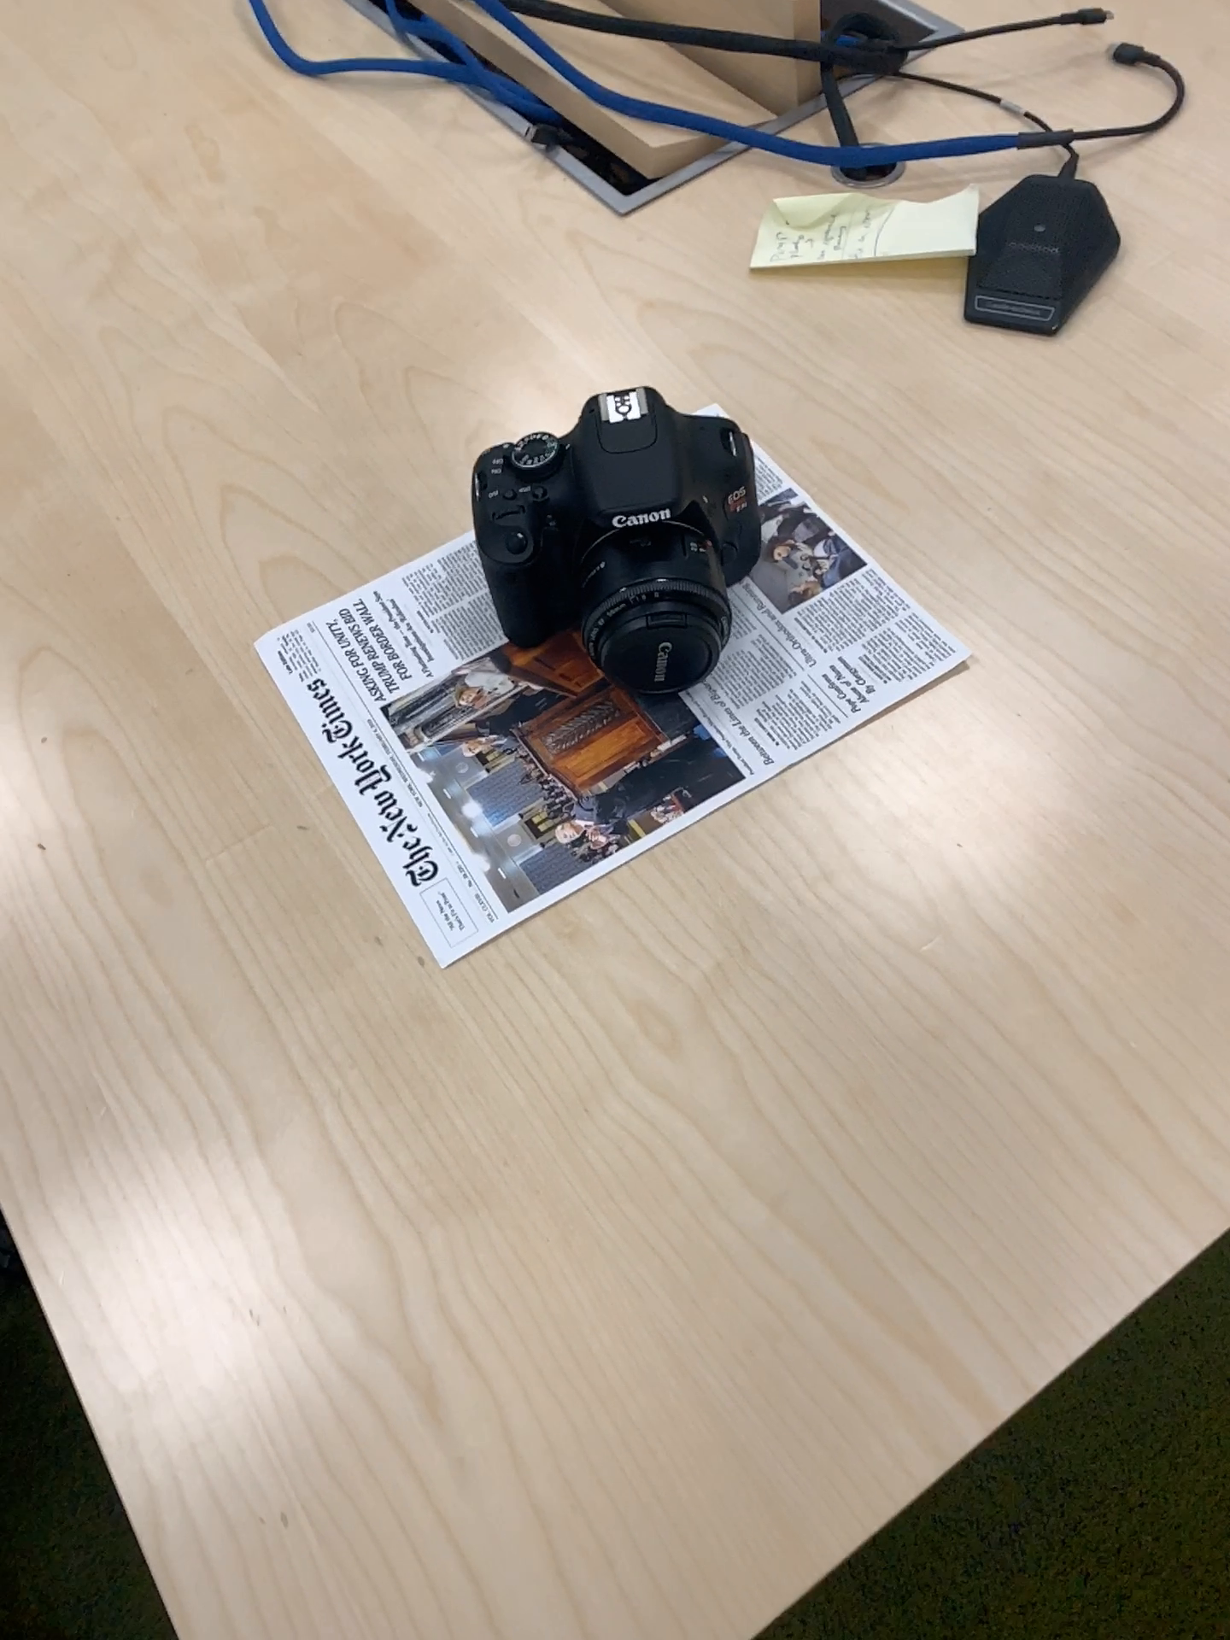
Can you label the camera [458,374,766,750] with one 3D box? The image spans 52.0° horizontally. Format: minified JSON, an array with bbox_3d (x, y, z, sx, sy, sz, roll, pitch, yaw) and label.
[{"bbox_3d":[0.000,-0.118,0.585,0.124,0.100,0.122,-6,58,4],"label":"camera"}]
